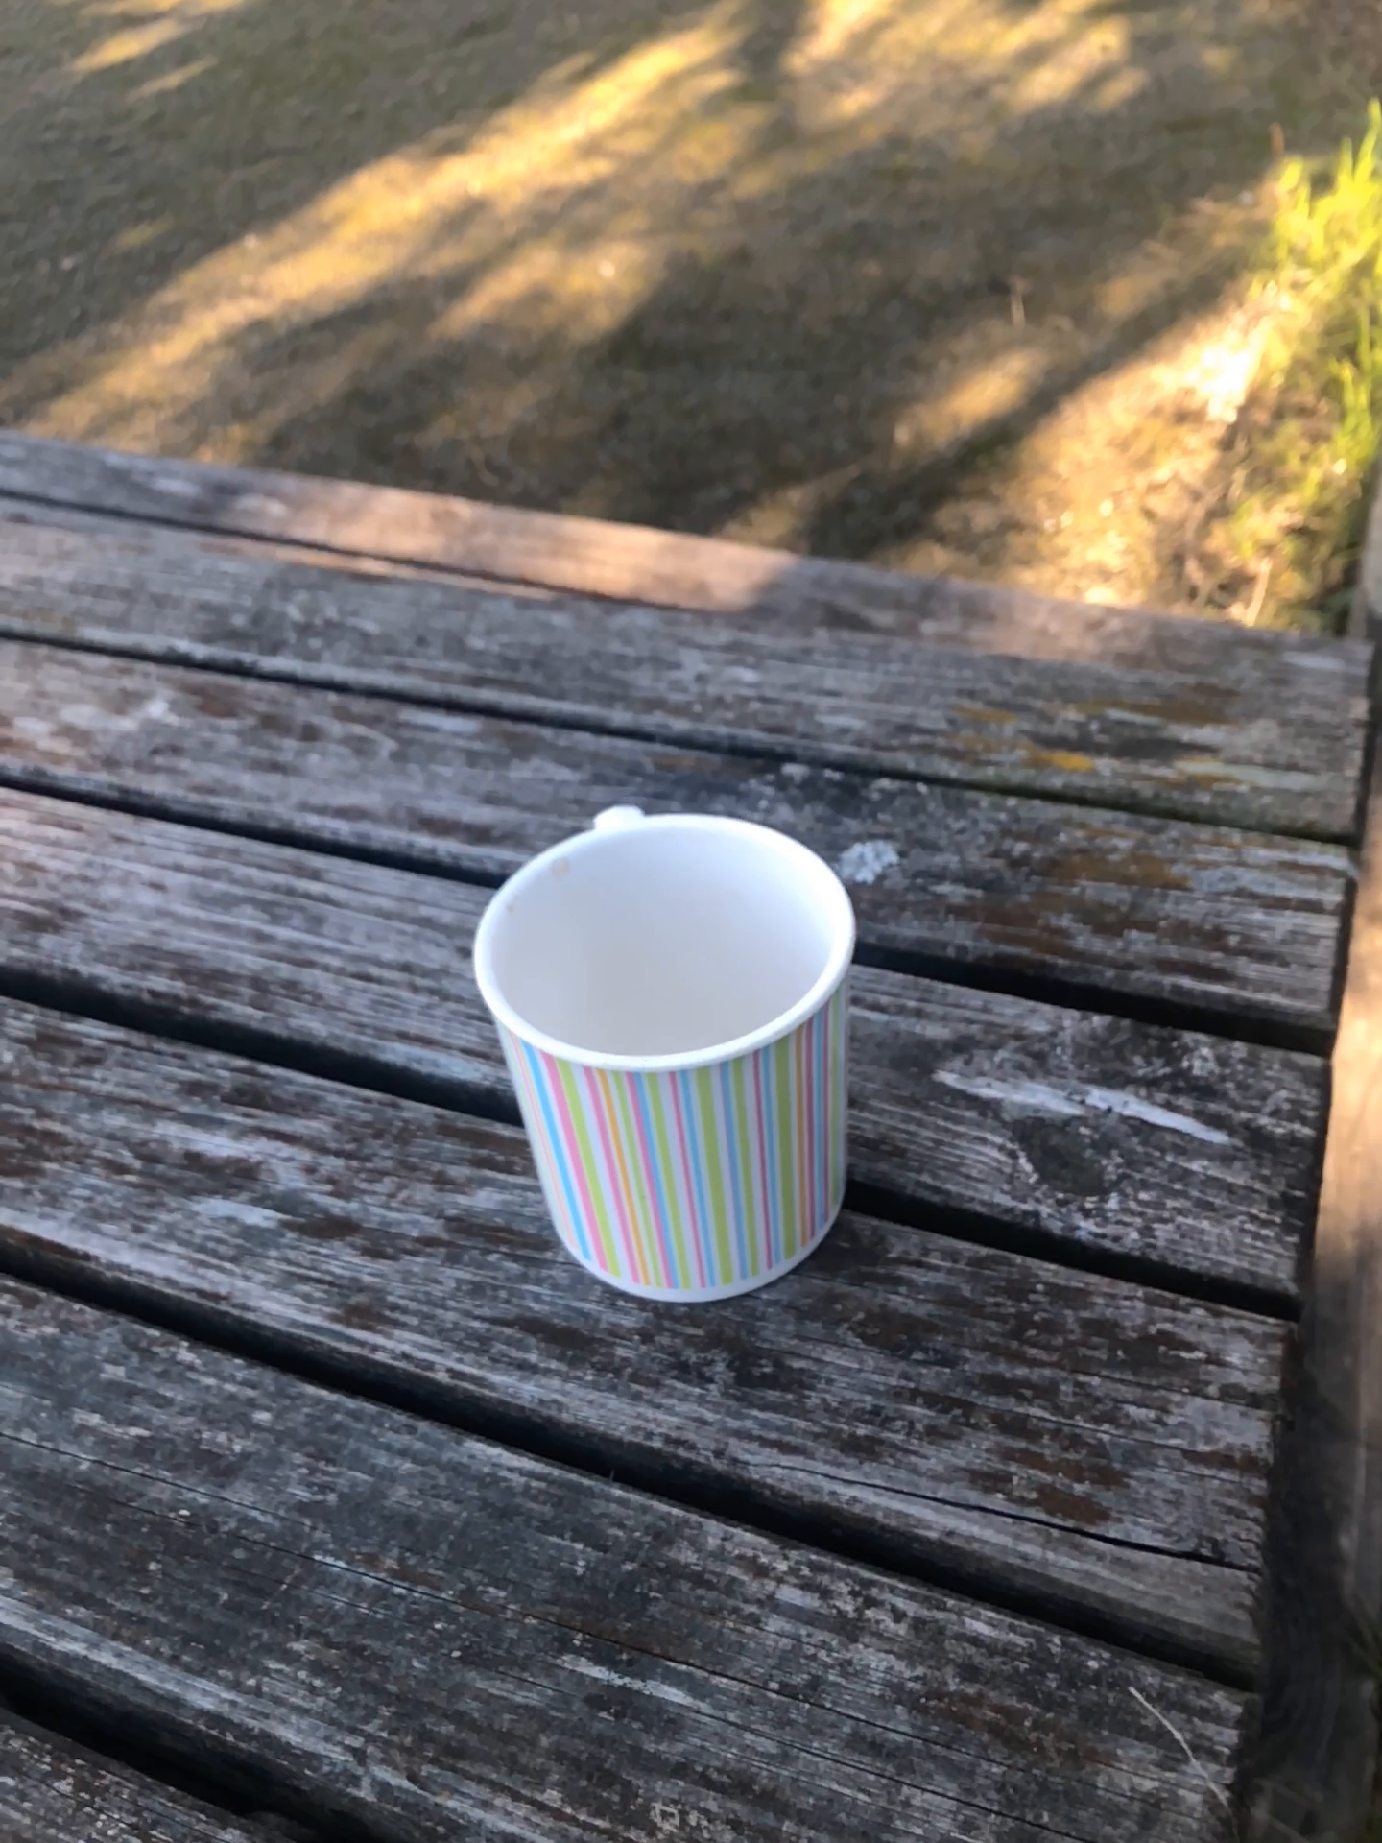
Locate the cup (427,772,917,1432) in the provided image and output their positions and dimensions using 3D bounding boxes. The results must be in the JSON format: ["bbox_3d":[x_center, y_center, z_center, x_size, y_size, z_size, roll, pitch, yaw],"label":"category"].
[{"bbox_3d":[-0.010,0.043,0.419,0.098,0.096,0.134,-10,40,-8],"label":"cup"}]
